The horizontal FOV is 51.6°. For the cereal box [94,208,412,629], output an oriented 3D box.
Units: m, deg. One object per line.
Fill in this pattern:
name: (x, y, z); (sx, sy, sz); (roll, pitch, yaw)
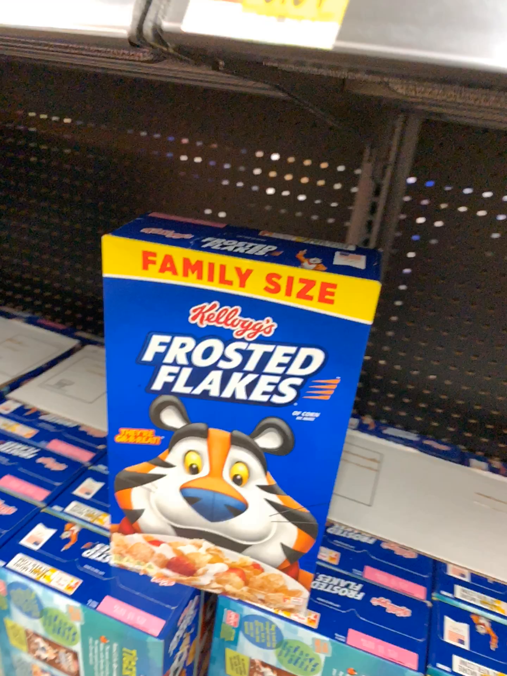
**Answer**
cereal box: (-0.014, 0.075, 0.442); (0.210, 0.318, 0.080); (12, 27, 10)
